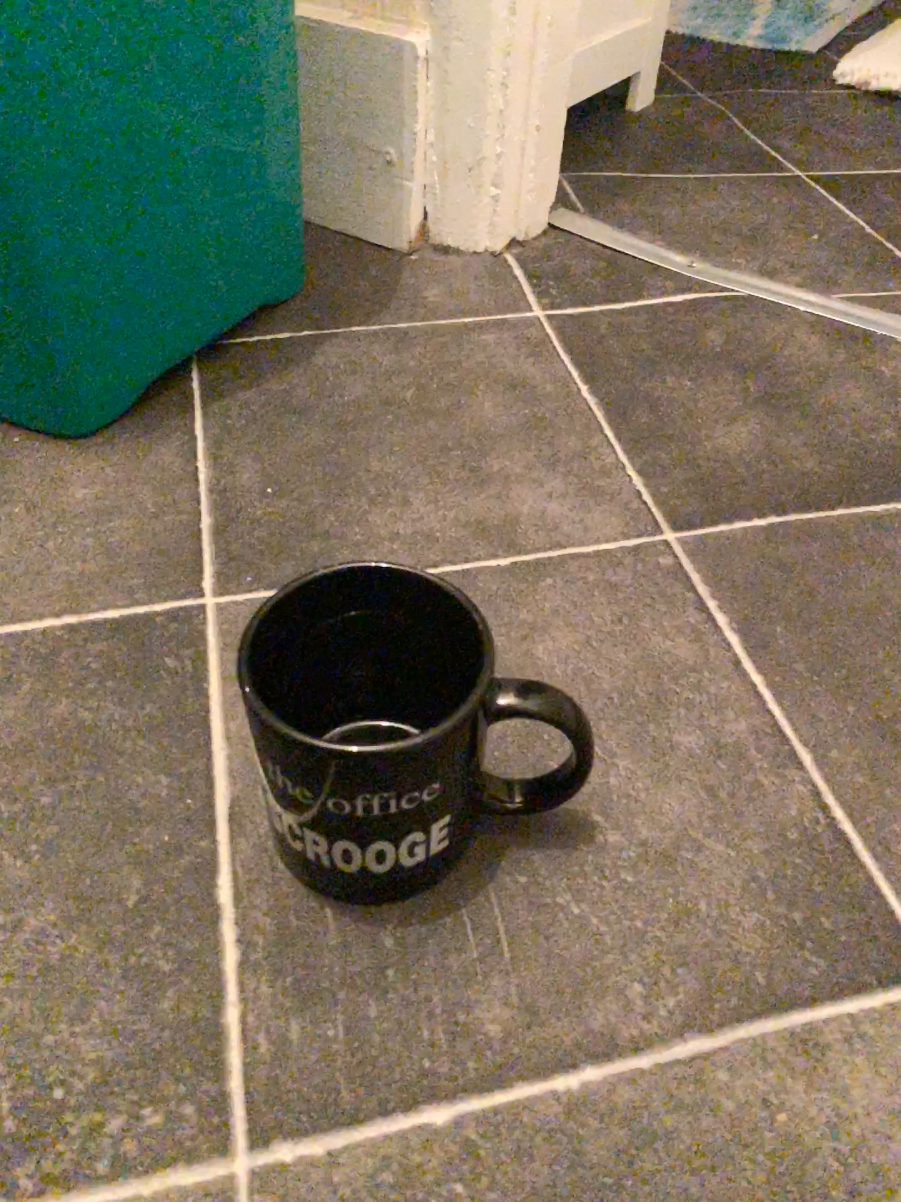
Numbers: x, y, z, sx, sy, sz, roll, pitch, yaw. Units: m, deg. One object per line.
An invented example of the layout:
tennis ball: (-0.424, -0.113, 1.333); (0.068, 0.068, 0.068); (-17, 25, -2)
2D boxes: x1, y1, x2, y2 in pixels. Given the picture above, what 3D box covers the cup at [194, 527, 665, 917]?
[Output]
cup: (-0.008, 0.043, 0.321); (0.130, 0.099, 0.091); (1, 45, -2)
